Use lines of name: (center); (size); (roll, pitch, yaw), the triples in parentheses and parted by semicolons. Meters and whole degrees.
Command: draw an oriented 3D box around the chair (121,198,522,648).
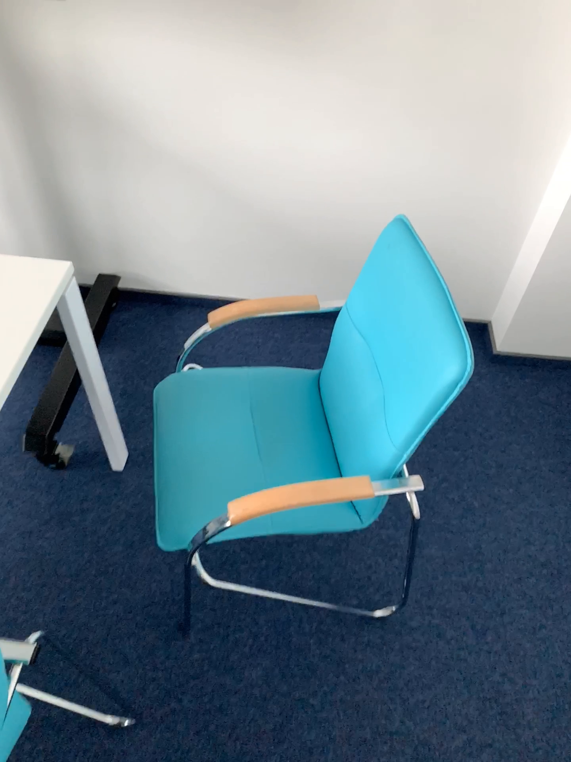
chair: (-0.002, 0.129, 1.378); (0.600, 0.846, 0.622); (-4, 50, -8)
